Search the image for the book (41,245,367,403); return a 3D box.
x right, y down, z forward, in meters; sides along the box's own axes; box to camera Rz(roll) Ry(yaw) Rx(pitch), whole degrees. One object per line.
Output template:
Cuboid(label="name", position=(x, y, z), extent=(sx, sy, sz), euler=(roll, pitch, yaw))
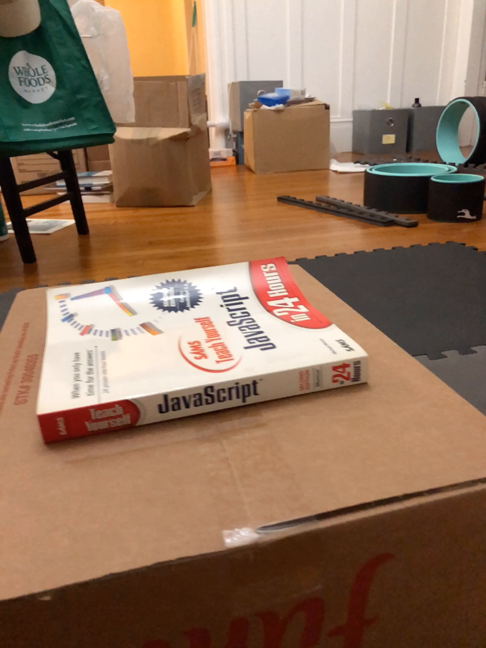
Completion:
Cuboid(label="book", position=(-0.046, -0.017, 0.480), extent=(0.240, 0.030, 0.201), euler=(-10, 24, -13))
